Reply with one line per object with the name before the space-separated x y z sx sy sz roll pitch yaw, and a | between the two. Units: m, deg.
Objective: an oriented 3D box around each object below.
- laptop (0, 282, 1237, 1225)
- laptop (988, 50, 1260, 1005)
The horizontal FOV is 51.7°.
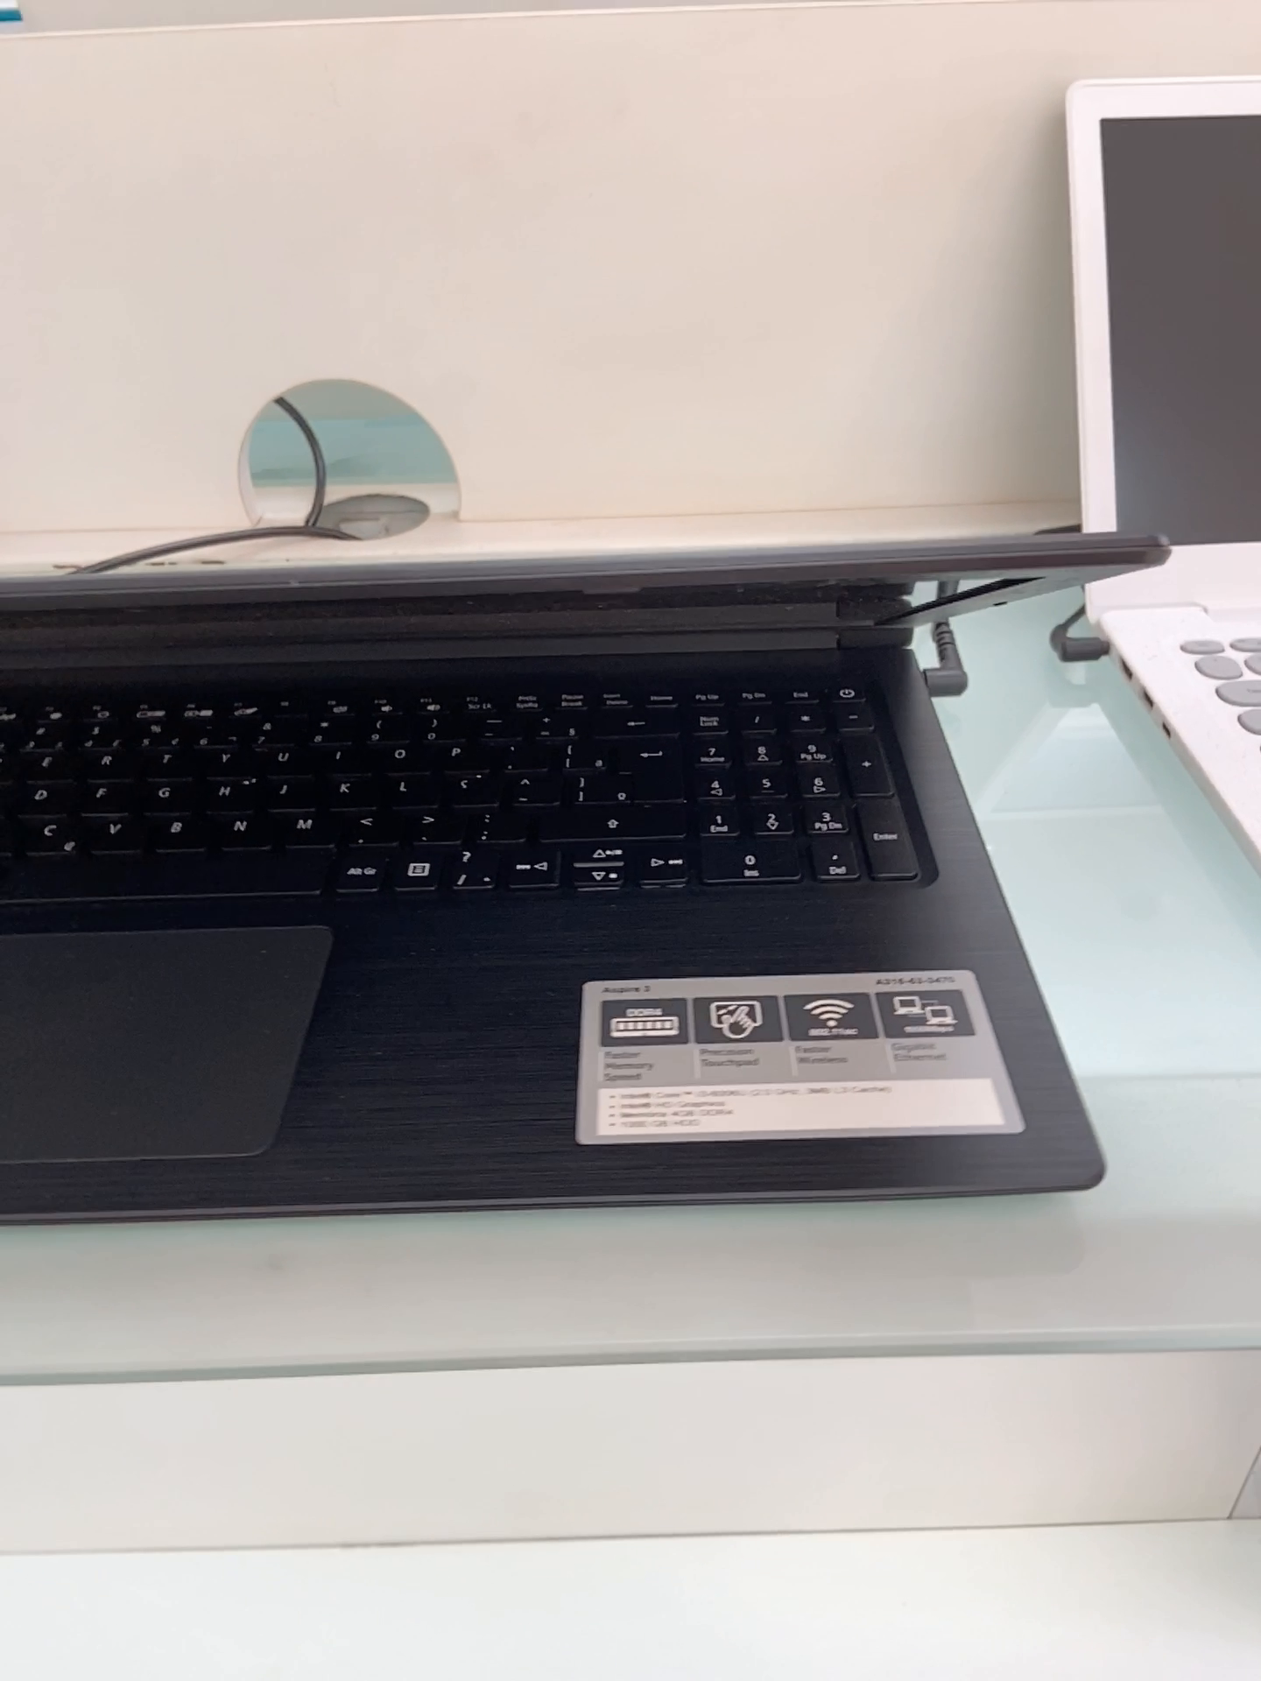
laptop | -0.091 -0.043 0.342 0.378 0.123 0.241 -2 36 2
laptop | 0.359 -0.138 0.416 0.381 0.165 0.353 -2 36 -2
